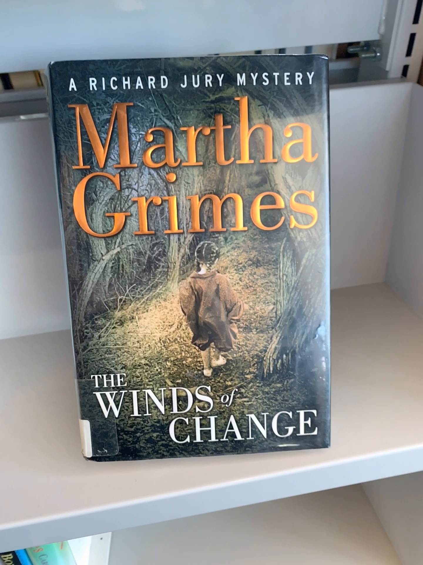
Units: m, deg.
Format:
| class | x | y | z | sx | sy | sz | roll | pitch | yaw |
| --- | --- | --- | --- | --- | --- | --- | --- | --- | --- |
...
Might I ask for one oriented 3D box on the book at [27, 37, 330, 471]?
| class | x | y | z | sx | sy | sz | roll | pitch | yaw |
| --- | --- | --- | --- | --- | --- | --- | --- | --- | --- |
| book | -0.013 | -0.012 | 0.281 | 0.160 | 0.244 | 0.050 | -3 | 9 | -1 |
